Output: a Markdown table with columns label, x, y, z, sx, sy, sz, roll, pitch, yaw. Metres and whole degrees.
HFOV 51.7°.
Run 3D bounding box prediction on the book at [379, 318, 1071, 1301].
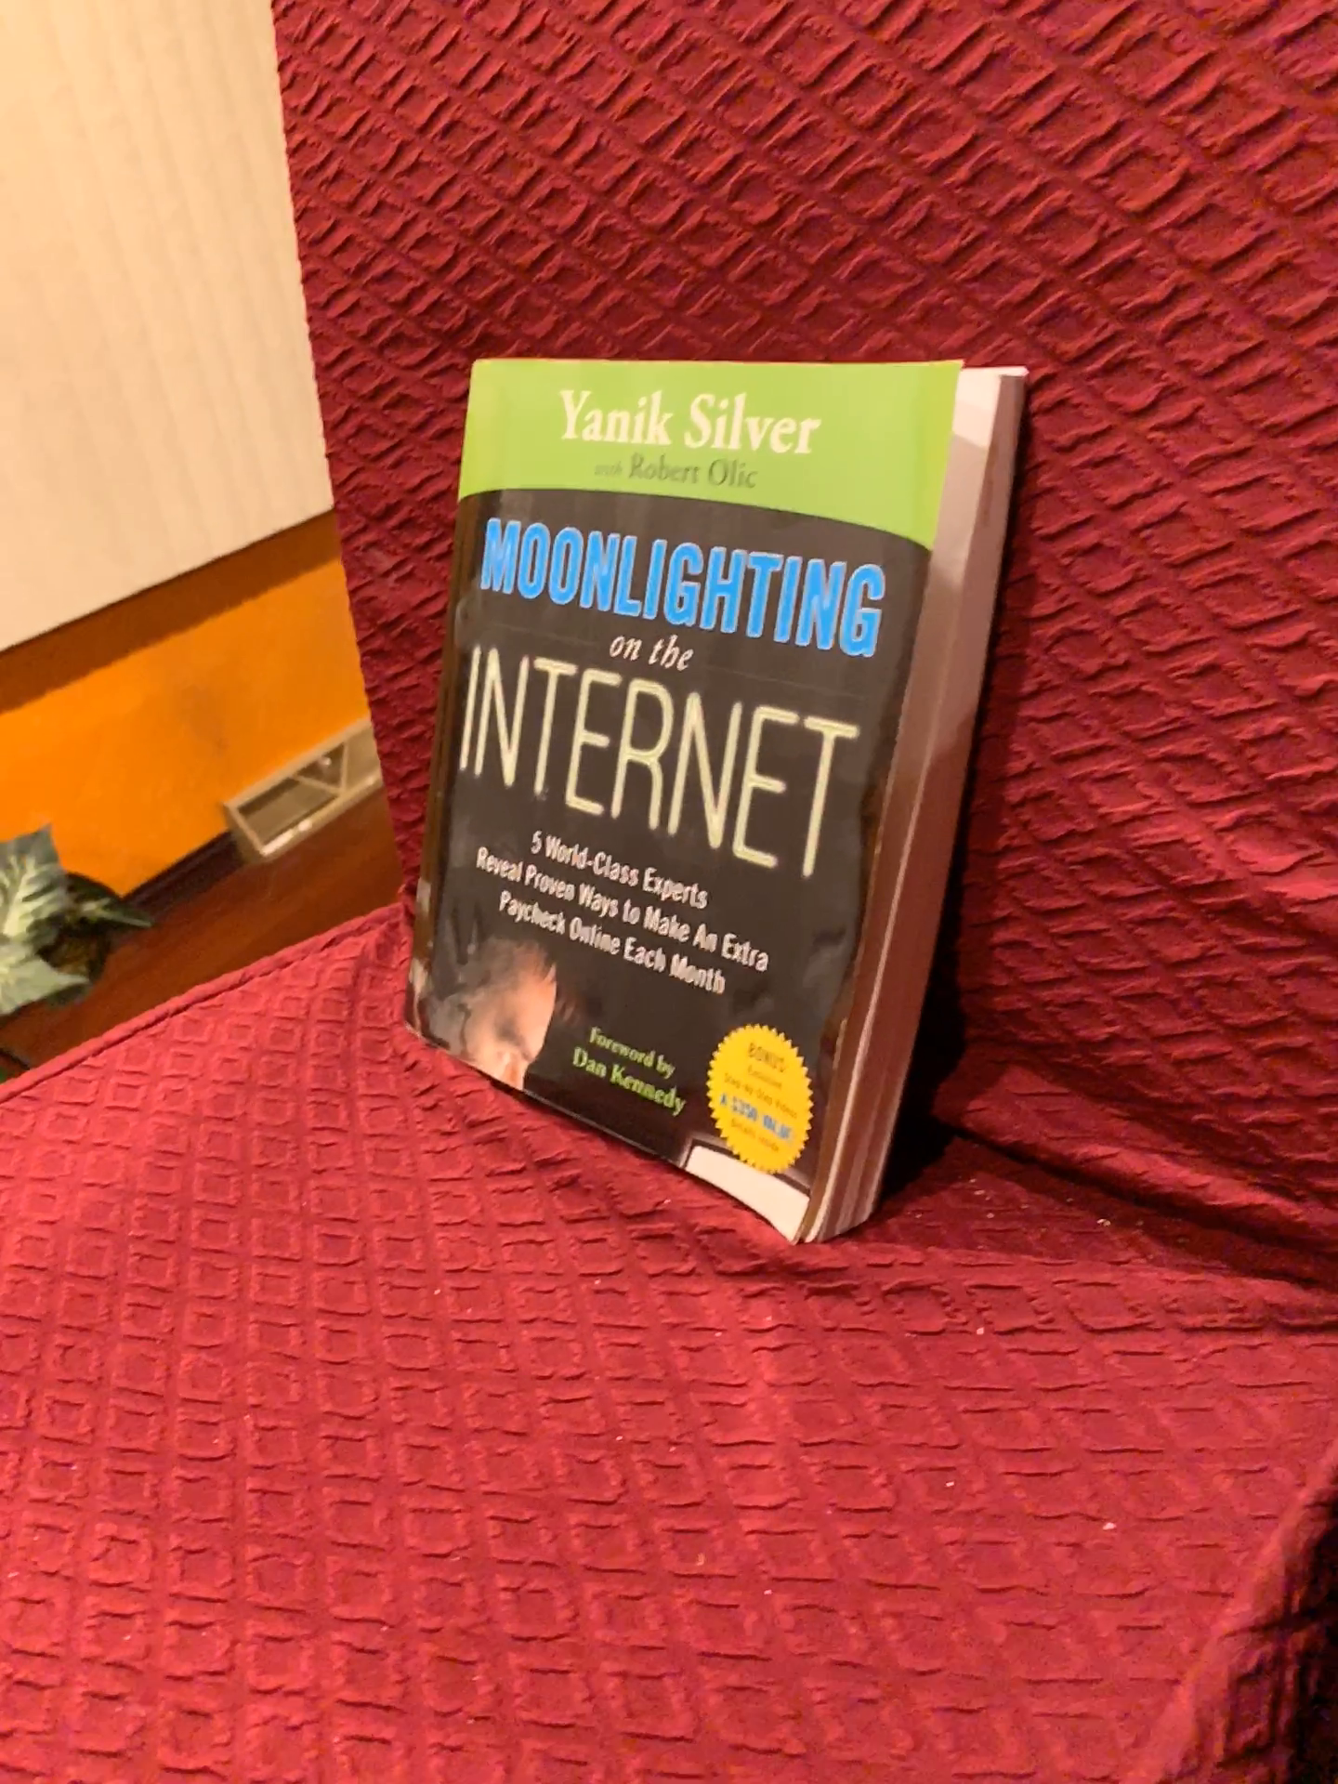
| label | x | y | z | sx | sy | sz | roll | pitch | yaw |
| --- | --- | --- | --- | --- | --- | --- | --- | --- | --- |
| book | -0.003 | -0.037 | 0.411 | 0.201 | 0.239 | 0.040 | 18 | 16 | 42 |
